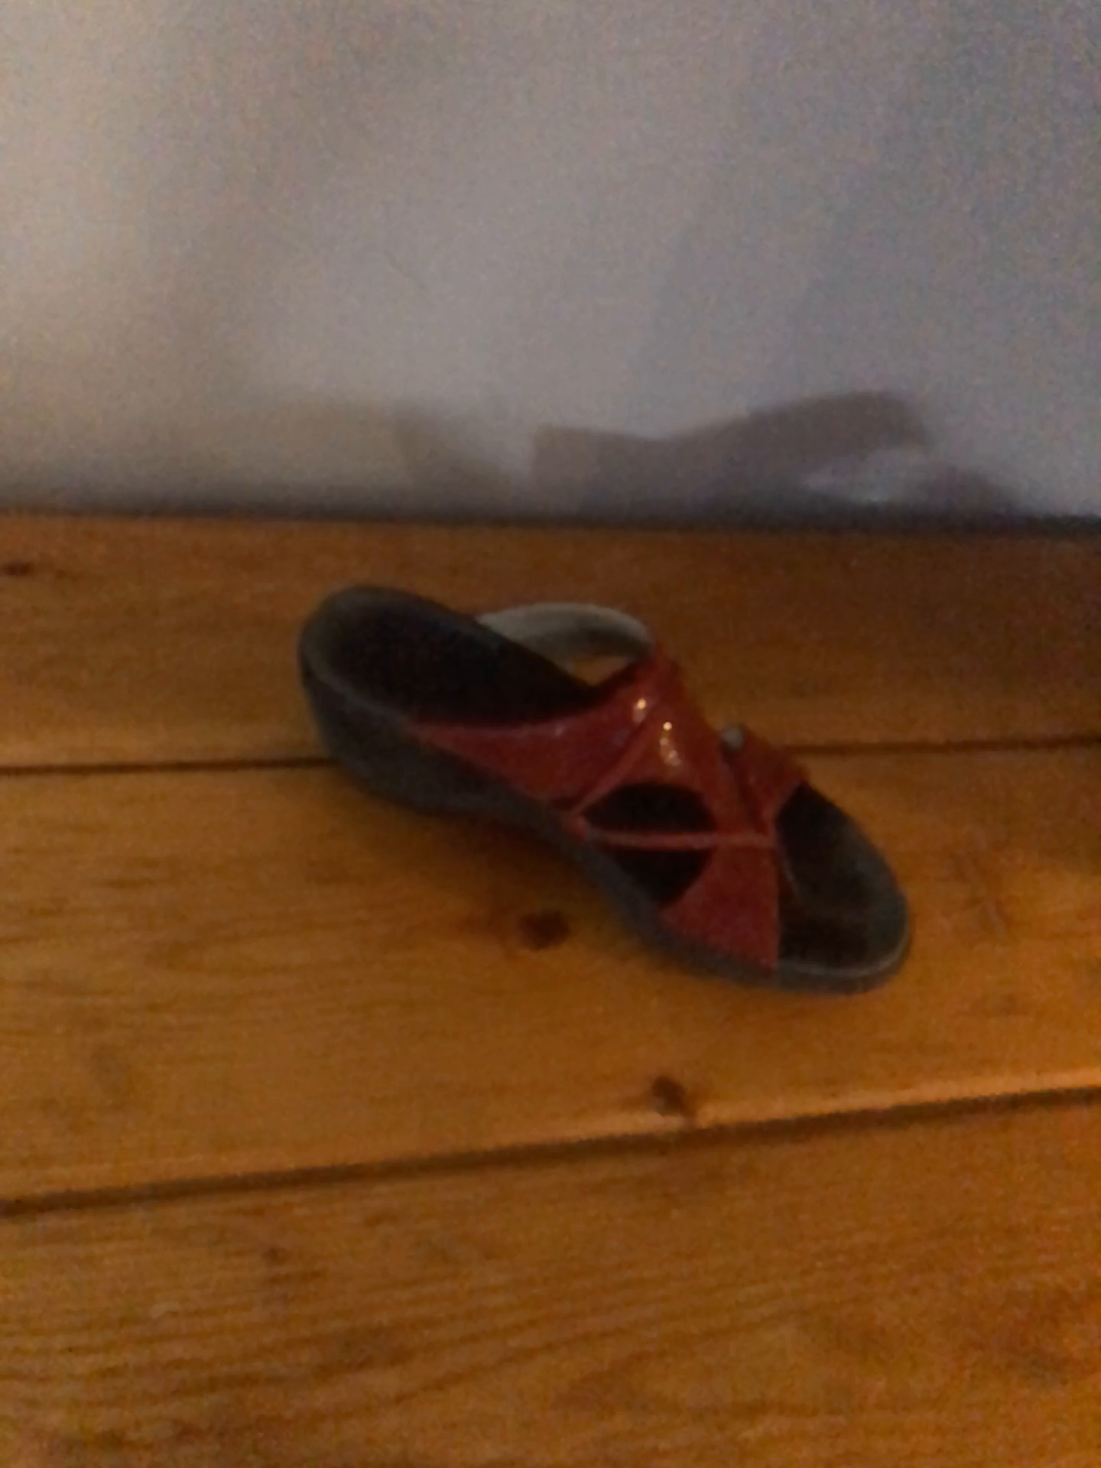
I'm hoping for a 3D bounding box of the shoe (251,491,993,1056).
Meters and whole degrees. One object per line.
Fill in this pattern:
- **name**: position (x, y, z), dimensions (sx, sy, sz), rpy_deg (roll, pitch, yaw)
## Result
- **shoe**: position (0.024, 0.010, 0.464), dimensions (0.250, 0.070, 0.100), rpy_deg (24, 49, 7)
